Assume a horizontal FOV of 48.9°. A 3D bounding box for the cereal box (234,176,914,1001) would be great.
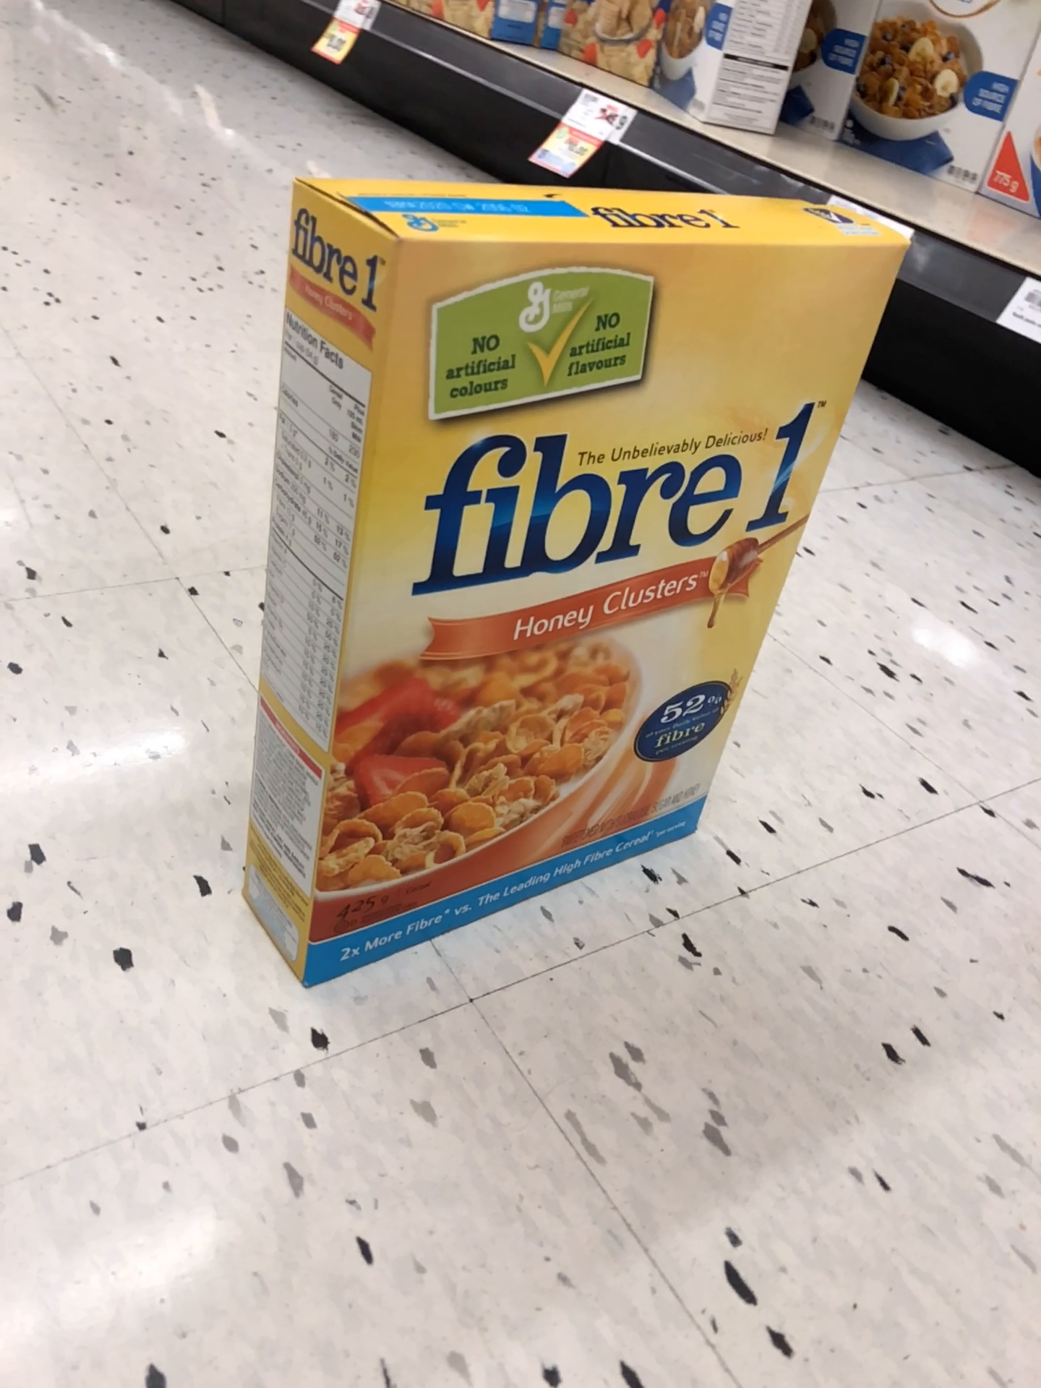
[{"bbox_3d":[0.009,-0.031,0.386,0.191,0.248,0.050,-15,43,-35],"label":"cereal box"}]
